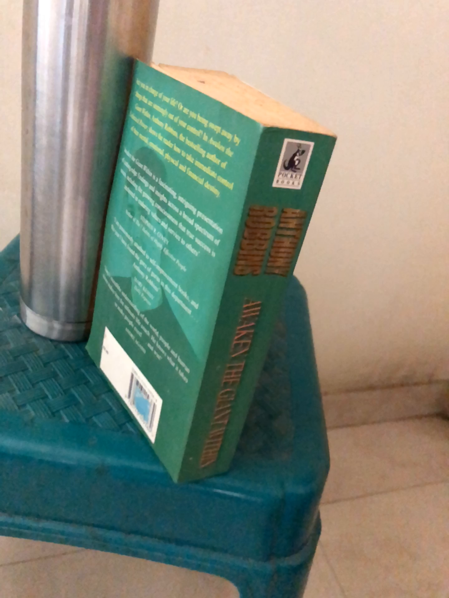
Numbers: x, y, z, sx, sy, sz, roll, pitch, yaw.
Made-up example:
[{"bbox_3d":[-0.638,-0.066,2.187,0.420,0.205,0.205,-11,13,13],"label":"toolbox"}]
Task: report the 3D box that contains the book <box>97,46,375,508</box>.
[{"bbox_3d":[-0.018,-0.012,0.277,0.050,0.199,0.140,-6,37,-29],"label":"book"}]
